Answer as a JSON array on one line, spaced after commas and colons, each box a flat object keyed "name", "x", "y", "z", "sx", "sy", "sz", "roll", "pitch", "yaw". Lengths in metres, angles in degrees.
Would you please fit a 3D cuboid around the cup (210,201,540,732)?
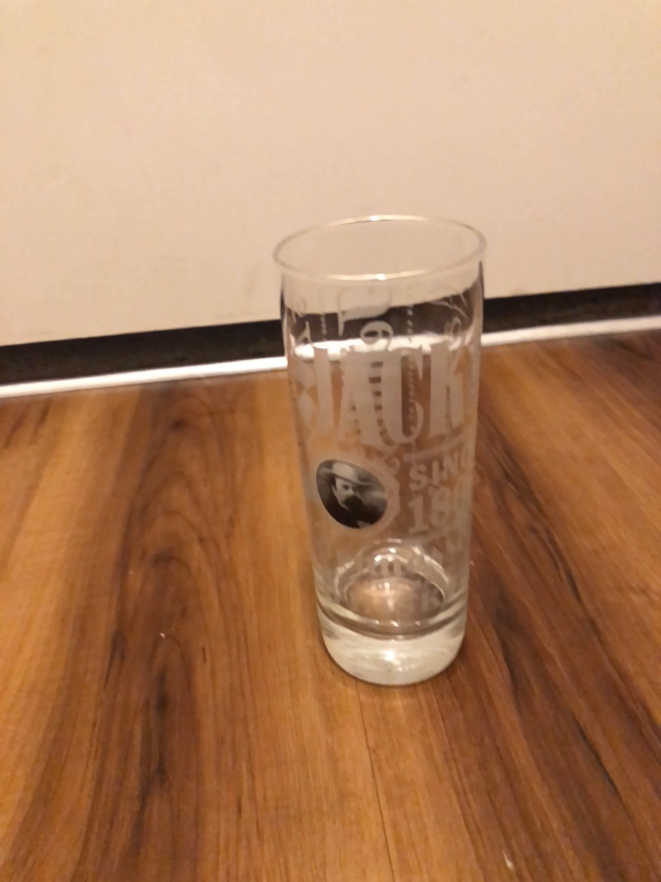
[{"name": "cup", "x": 0.019, "y": 0.007, "z": 0.246, "sx": 0.067, "sy": 0.150, "sz": 0.068, "roll": -3, "pitch": 30, "yaw": 2}]
